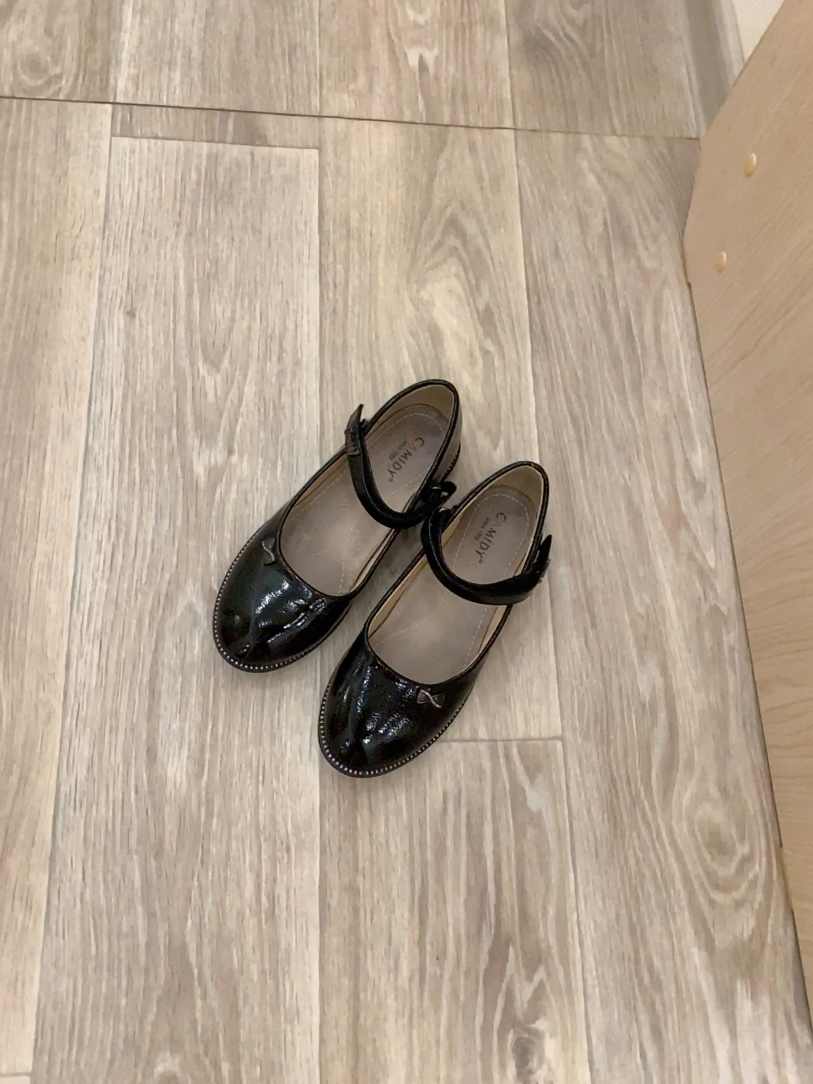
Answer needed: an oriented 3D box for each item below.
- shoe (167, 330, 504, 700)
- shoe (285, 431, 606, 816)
[{"bbox_3d":[-0.047,-0.018,0.610,0.090,0.100,0.250,37,73,5],"label":"shoe"},{"bbox_3d":[0.027,0.058,0.596,0.090,0.100,0.250,34,73,4],"label":"shoe"}]
